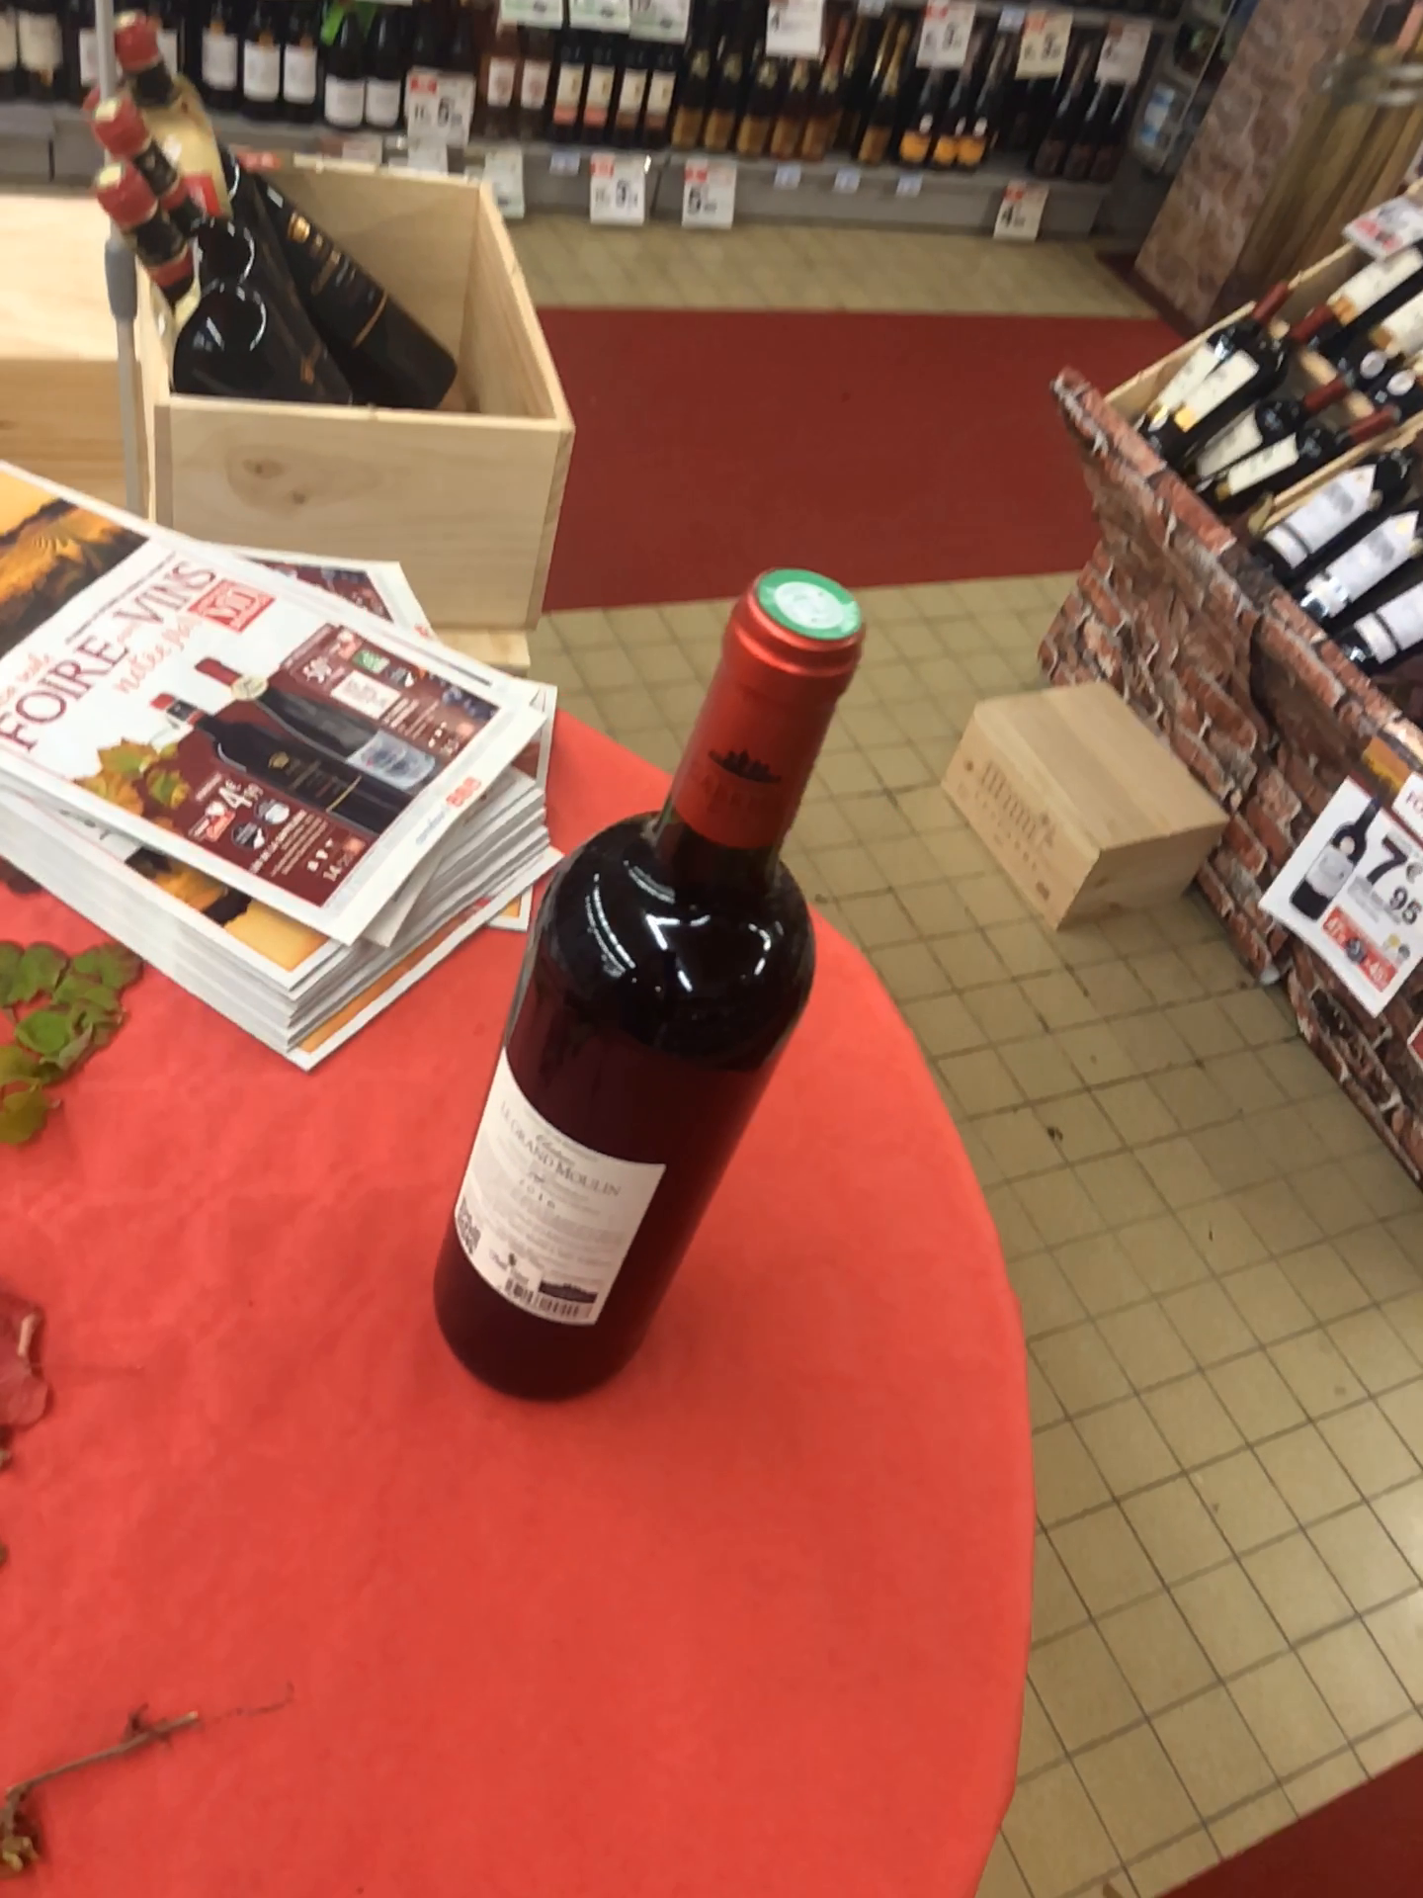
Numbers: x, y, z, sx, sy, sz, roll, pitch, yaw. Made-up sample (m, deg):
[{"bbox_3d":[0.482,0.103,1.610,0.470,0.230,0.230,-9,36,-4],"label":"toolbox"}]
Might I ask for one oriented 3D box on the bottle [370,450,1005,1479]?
[{"bbox_3d":[-0.024,0.028,0.424,0.080,0.298,0.081,9,47,-10],"label":"bottle"}]
